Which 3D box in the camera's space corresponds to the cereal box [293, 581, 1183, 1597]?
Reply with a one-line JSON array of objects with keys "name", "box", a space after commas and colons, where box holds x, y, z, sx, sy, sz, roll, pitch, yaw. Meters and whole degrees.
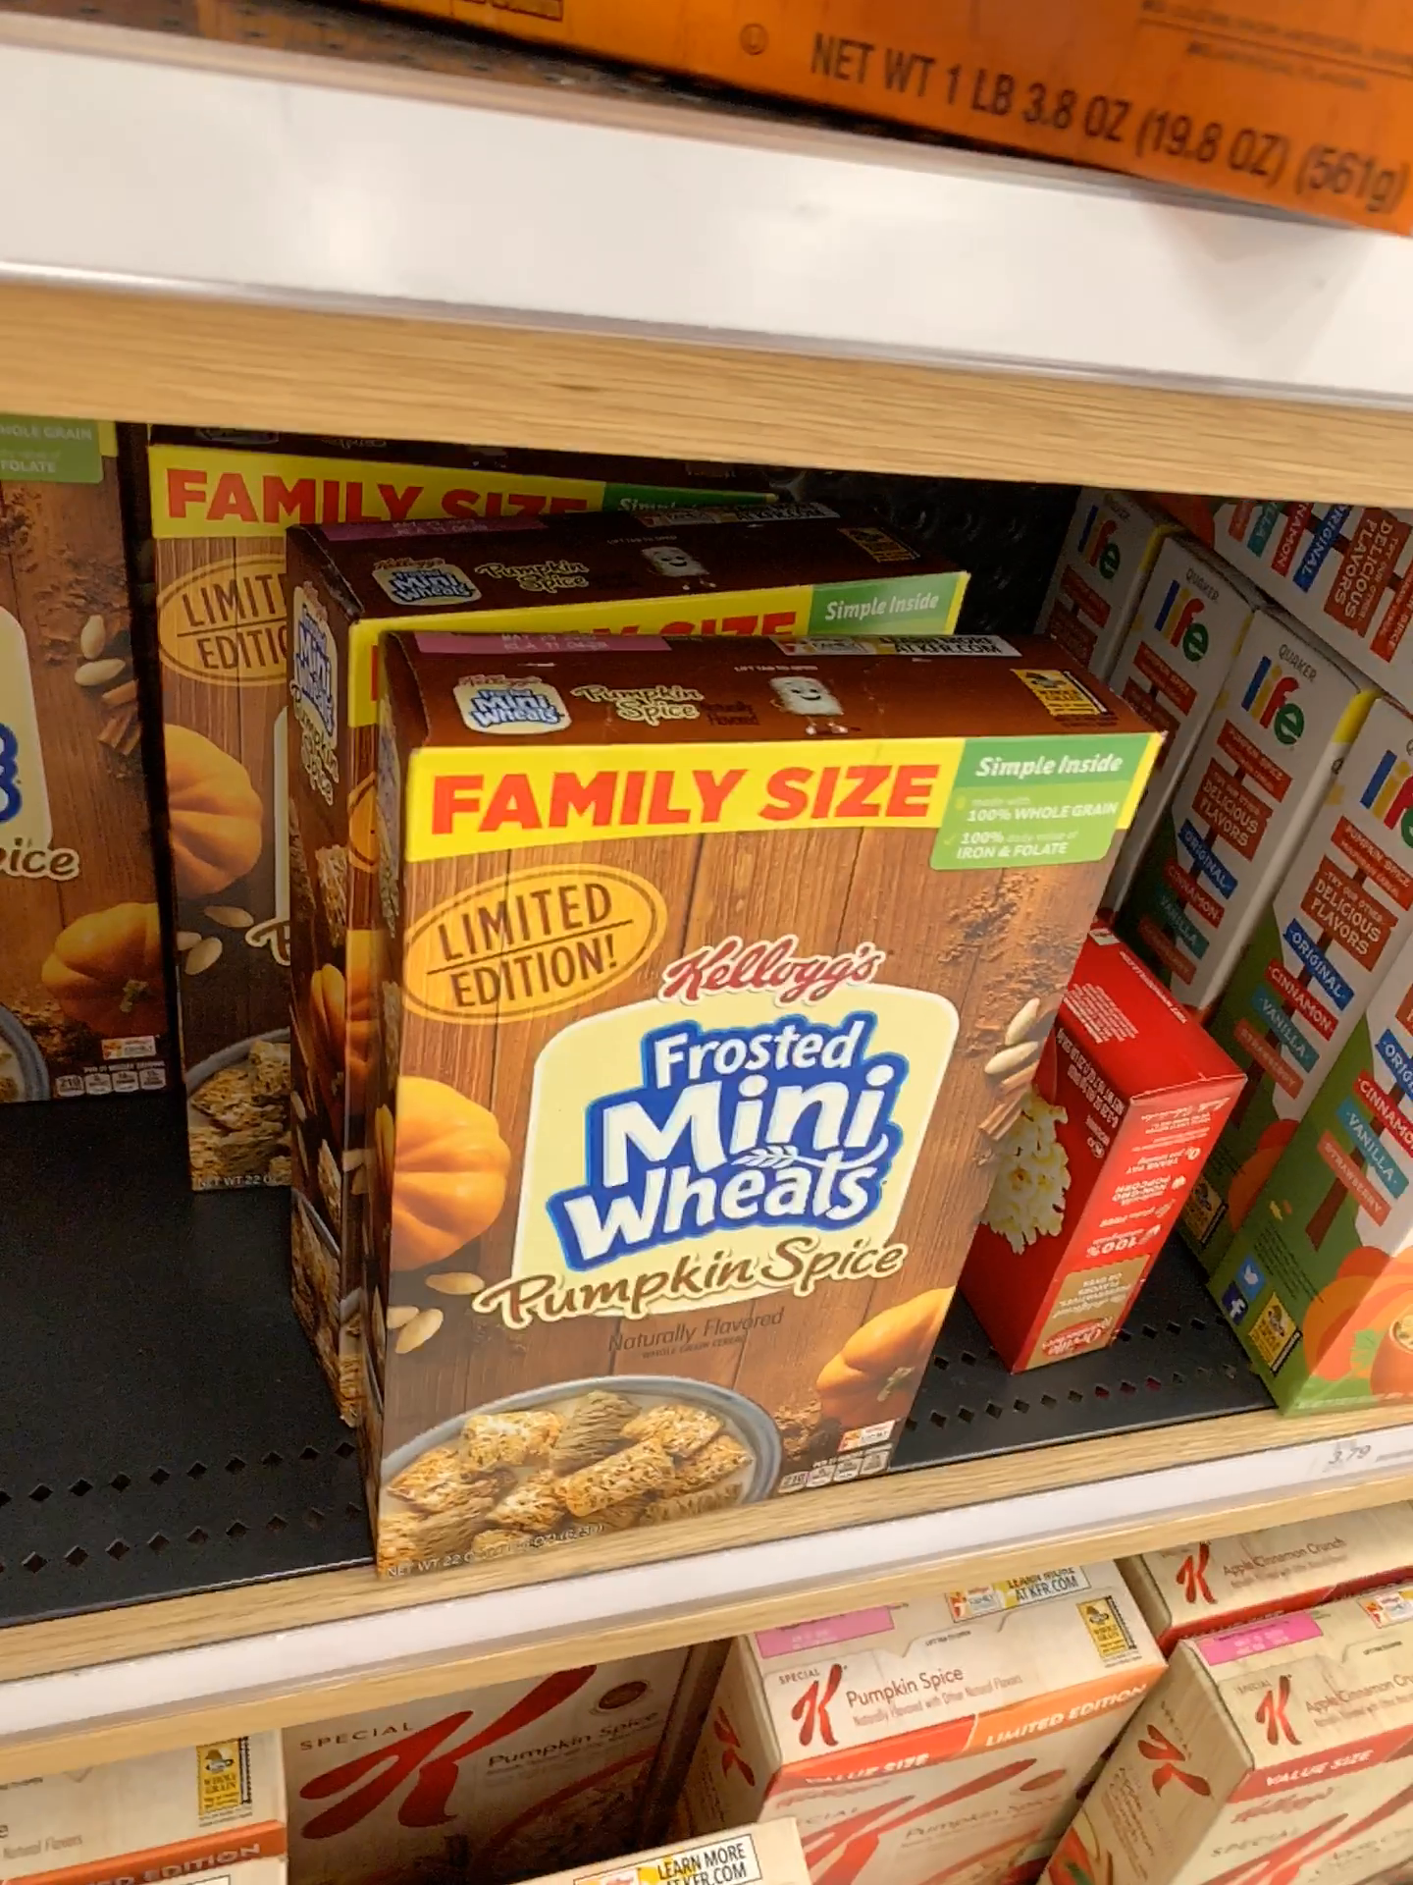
[{"name": "cereal box", "box": [-0.011, 0.054, 0.416, 0.200, 0.309, 0.050, -5, 37, -21]}]
